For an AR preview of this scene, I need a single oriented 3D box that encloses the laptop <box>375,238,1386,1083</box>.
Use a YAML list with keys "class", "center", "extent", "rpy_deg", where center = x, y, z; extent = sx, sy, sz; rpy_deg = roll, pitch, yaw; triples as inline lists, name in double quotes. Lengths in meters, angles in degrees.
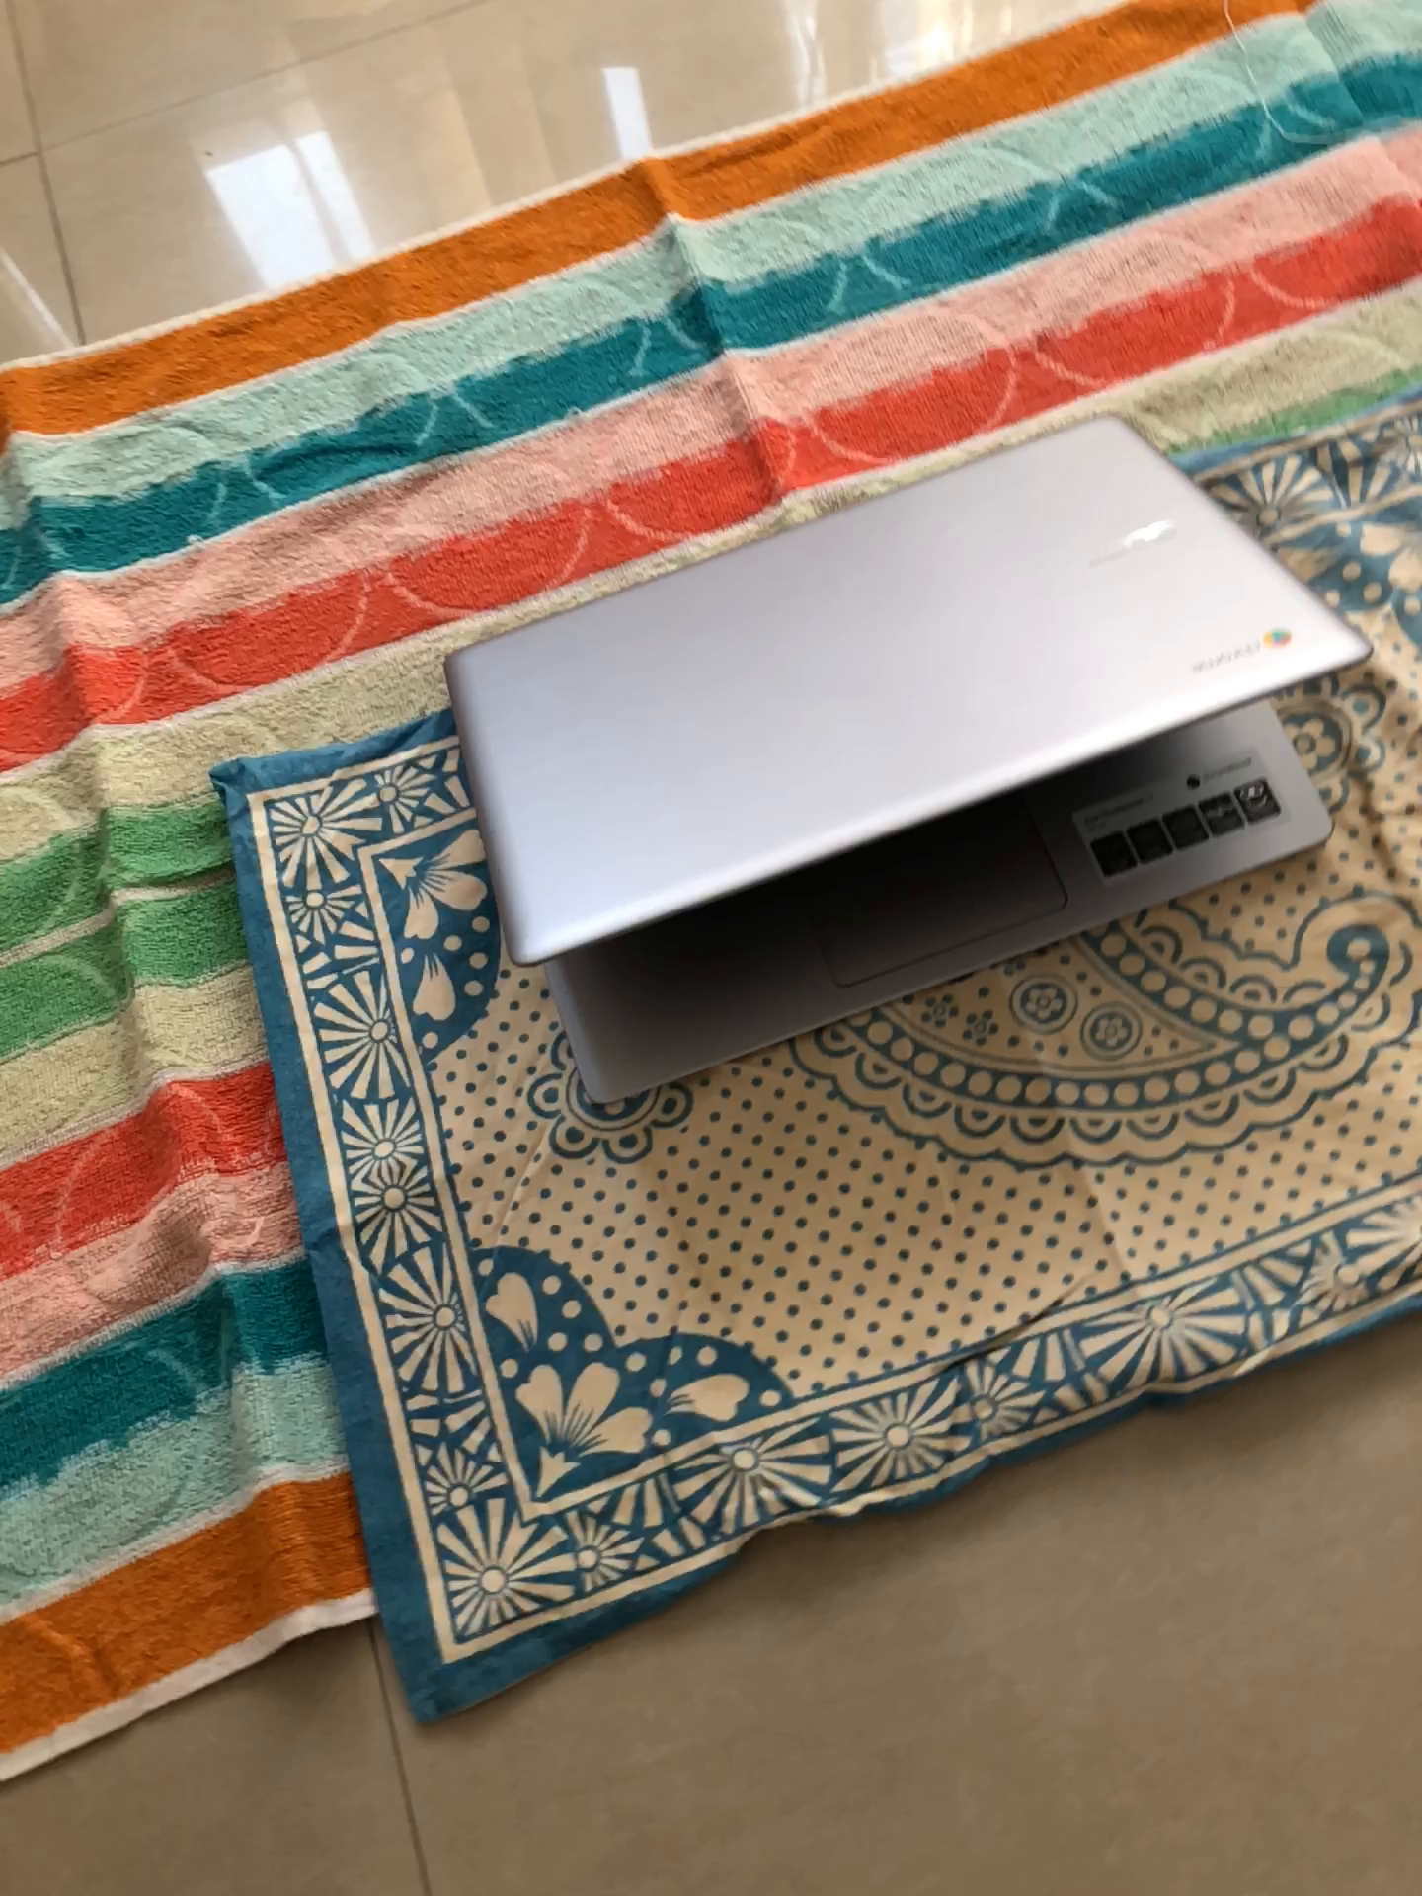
- class: "laptop"
  center: [0.059, -0.115, 0.637]
  extent: [0.319, 0.105, 0.222]
  rpy_deg: [-20, 70, -1]
